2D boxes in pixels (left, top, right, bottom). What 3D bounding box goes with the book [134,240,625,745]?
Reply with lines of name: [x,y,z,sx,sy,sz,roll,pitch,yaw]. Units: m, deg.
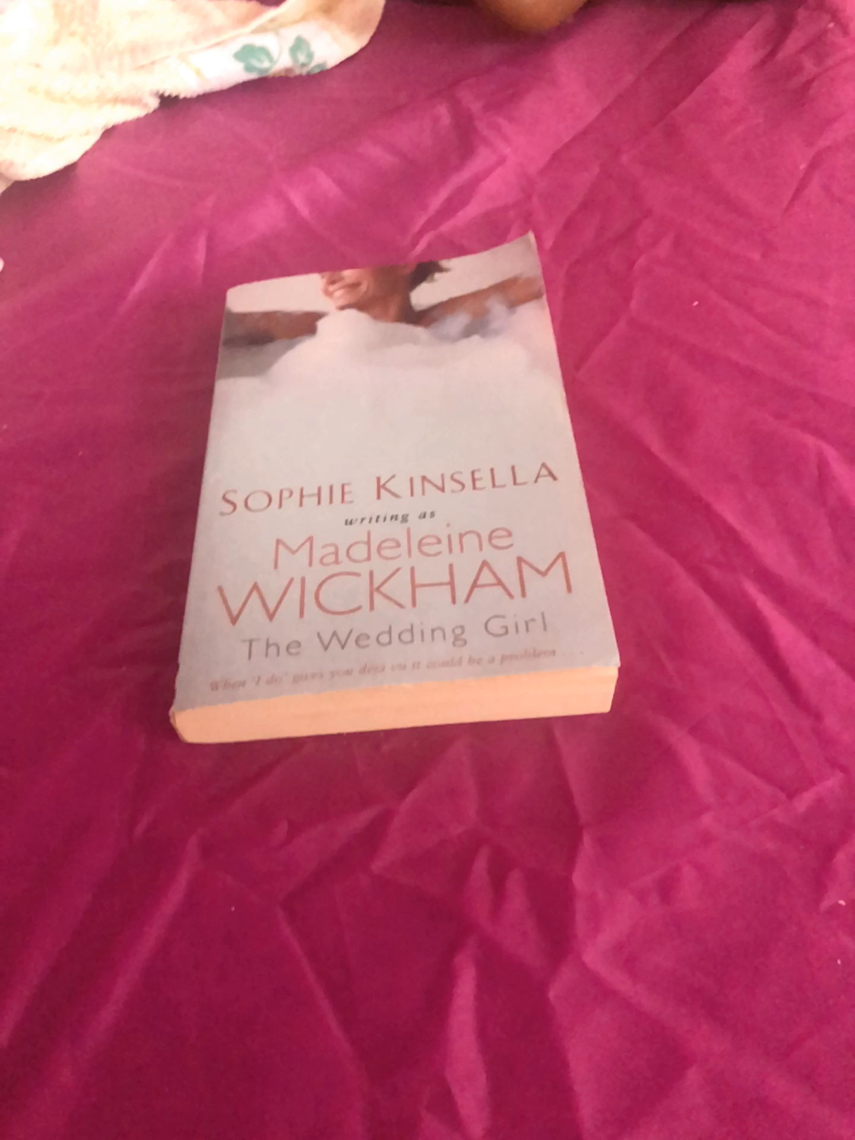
book: [-0.016,-0.041,0.332,0.135,0.027,0.202,-5,51,2]
